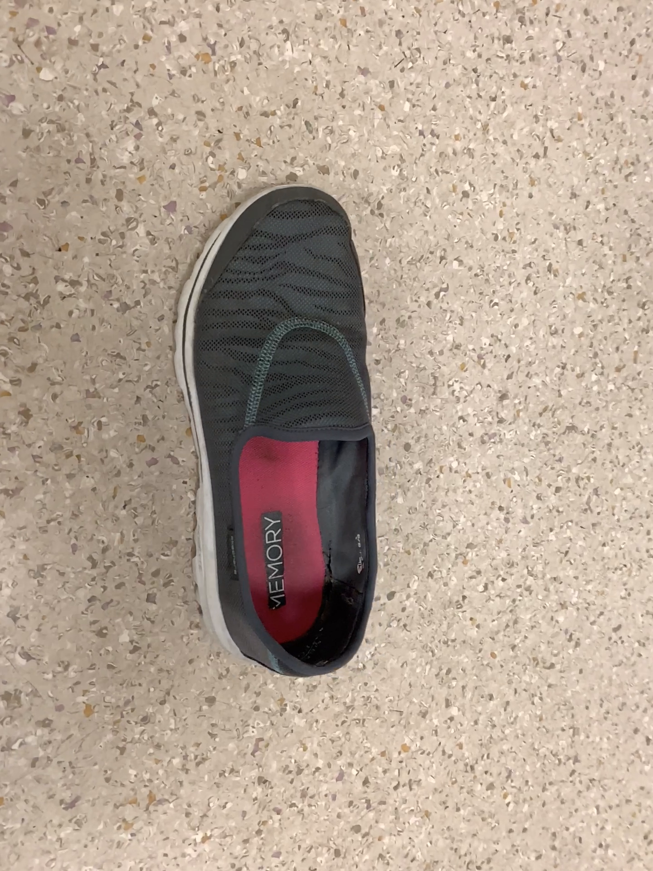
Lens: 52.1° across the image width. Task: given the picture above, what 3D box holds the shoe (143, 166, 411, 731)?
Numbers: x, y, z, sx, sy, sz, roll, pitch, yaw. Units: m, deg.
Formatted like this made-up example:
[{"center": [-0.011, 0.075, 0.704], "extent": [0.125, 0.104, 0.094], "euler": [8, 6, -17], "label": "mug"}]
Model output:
[{"center": [-0.024, 0.004, 0.332], "extent": [0.103, 0.075, 0.239], "euler": [-6, 100, -22], "label": "shoe"}]
